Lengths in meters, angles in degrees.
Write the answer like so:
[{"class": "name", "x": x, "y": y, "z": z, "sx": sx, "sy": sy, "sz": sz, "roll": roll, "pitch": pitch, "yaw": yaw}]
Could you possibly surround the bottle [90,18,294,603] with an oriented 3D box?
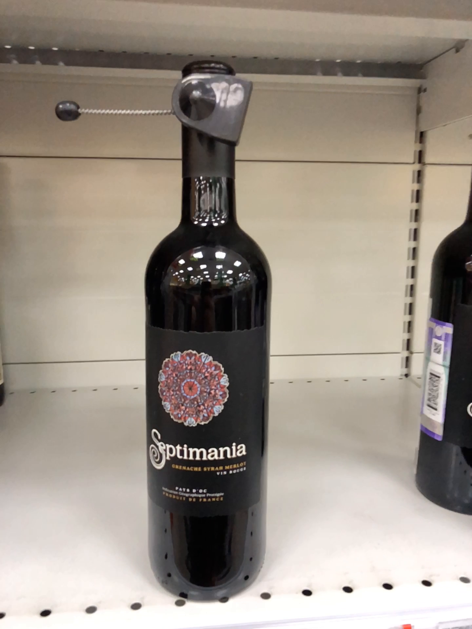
[{"class": "bottle", "x": -0.020, "y": 0.004, "z": 0.300, "sx": 0.090, "sy": 0.291, "sz": 0.090, "roll": 0, "pitch": 10, "yaw": 0}]
